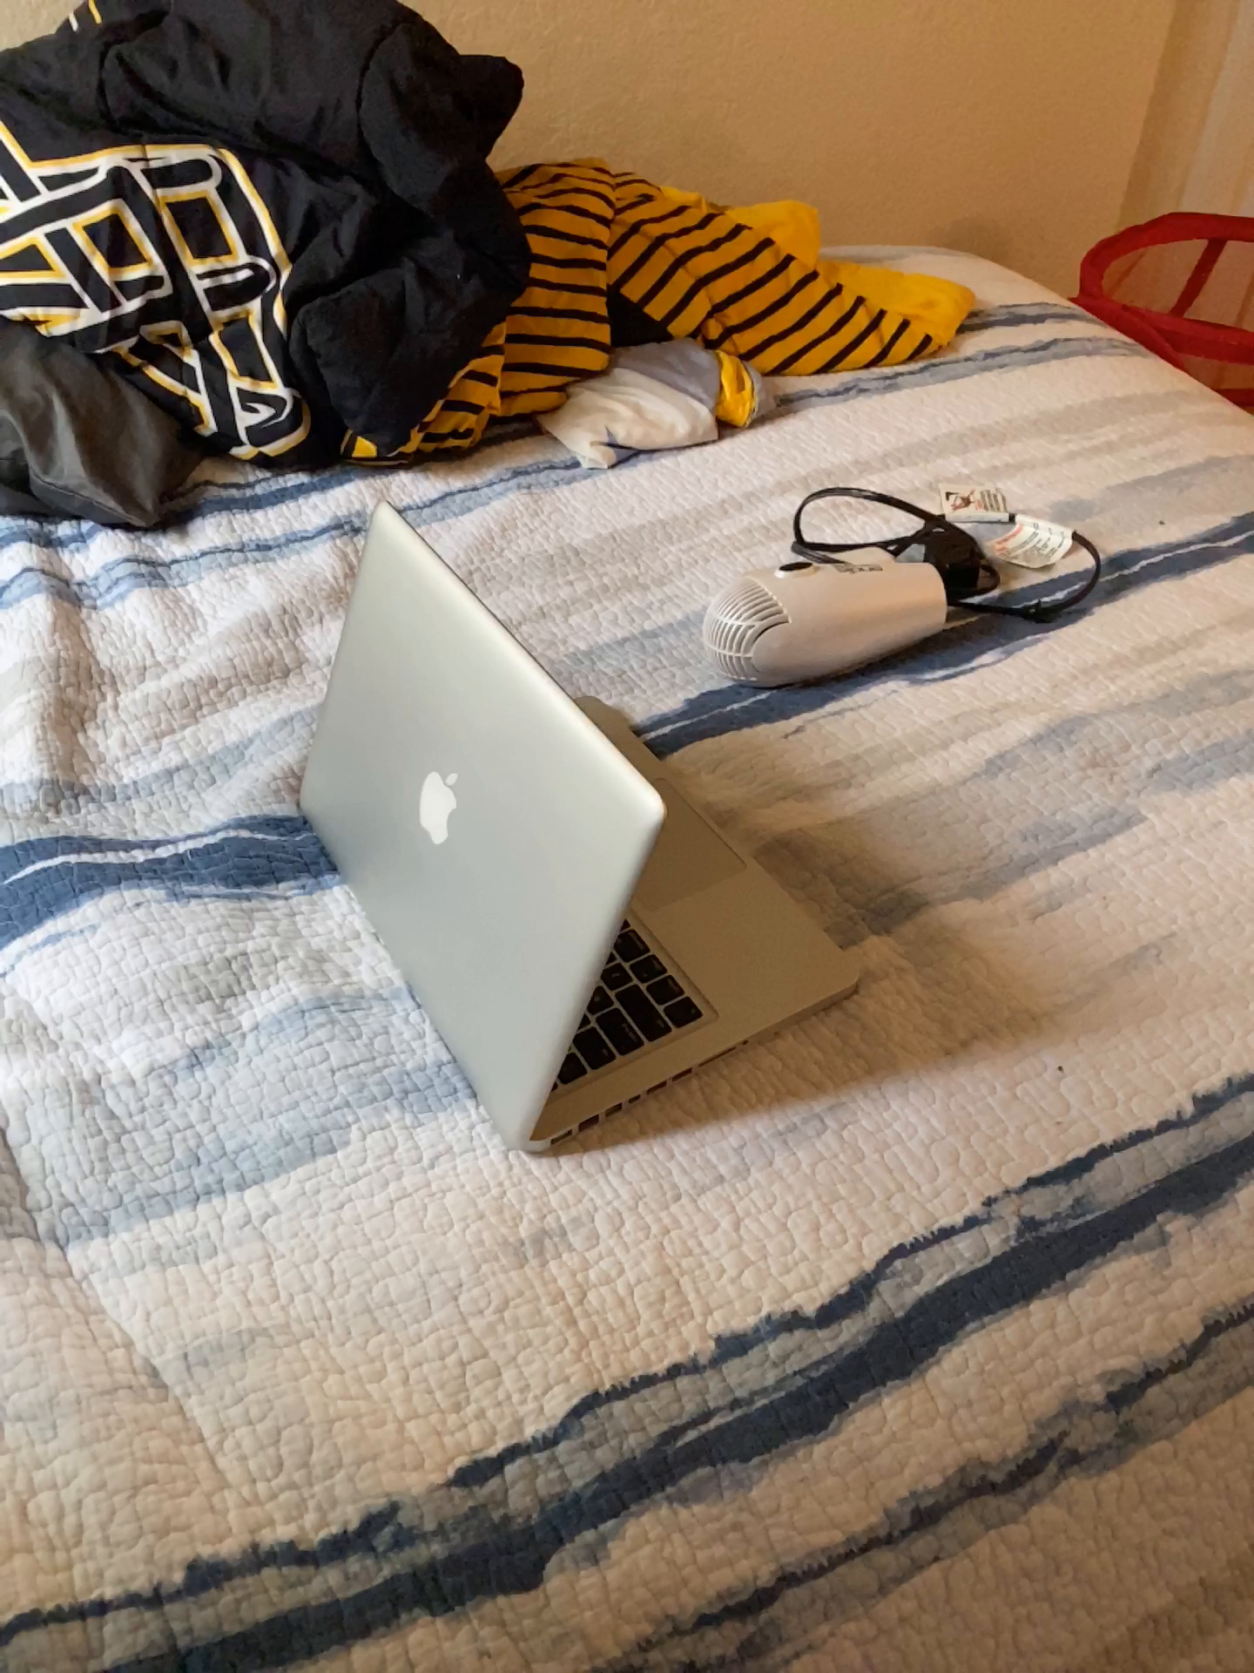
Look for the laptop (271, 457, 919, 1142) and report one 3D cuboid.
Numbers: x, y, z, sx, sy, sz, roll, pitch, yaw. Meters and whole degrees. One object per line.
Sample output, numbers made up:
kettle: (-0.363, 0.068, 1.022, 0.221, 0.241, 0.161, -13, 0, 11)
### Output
laptop: (-0.033, -0.039, 0.726, 0.214, 0.188, 0.302, -22, 48, -21)
